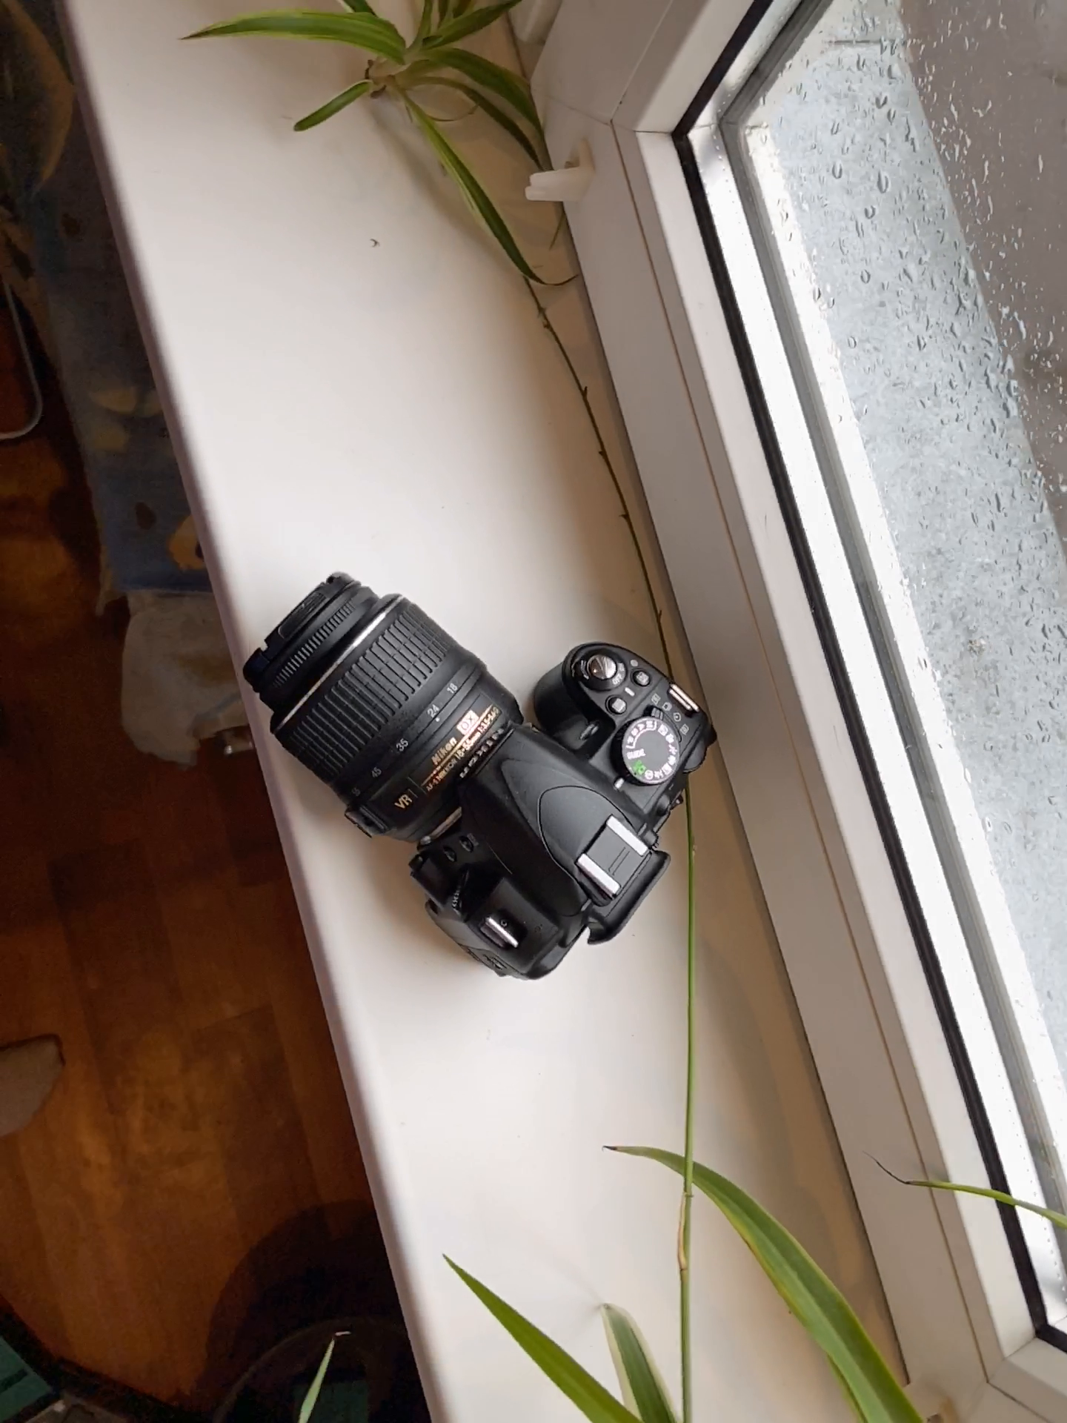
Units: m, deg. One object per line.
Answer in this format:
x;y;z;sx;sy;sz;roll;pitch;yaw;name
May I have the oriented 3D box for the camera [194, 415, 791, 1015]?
-0.018;0.005;0.395;0.154;0.091;0.124;41;73;-7;camera
